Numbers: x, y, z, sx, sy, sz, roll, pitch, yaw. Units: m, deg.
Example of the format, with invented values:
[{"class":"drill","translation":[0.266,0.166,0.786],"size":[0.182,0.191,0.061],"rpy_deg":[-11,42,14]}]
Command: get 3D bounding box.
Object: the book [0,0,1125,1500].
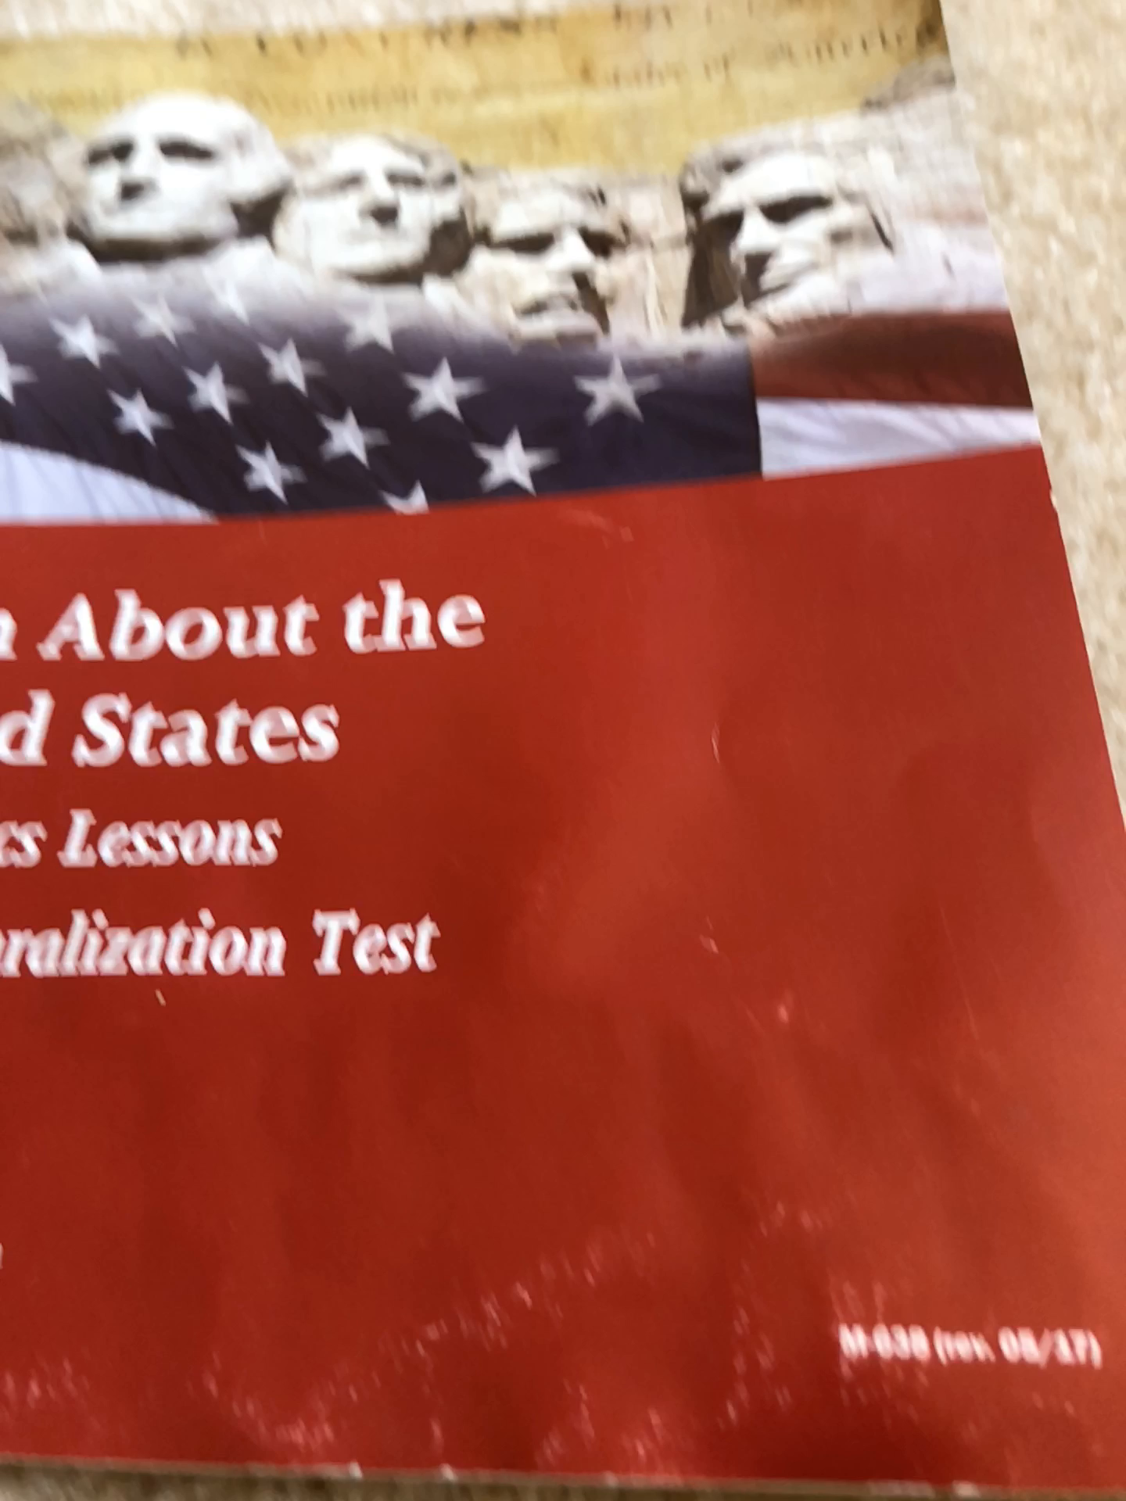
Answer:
[{"class":"book","translation":[-0.030,-0.034,0.211],"size":[0.208,0.028,0.274],"rpy_deg":[-2,59,6]}]
